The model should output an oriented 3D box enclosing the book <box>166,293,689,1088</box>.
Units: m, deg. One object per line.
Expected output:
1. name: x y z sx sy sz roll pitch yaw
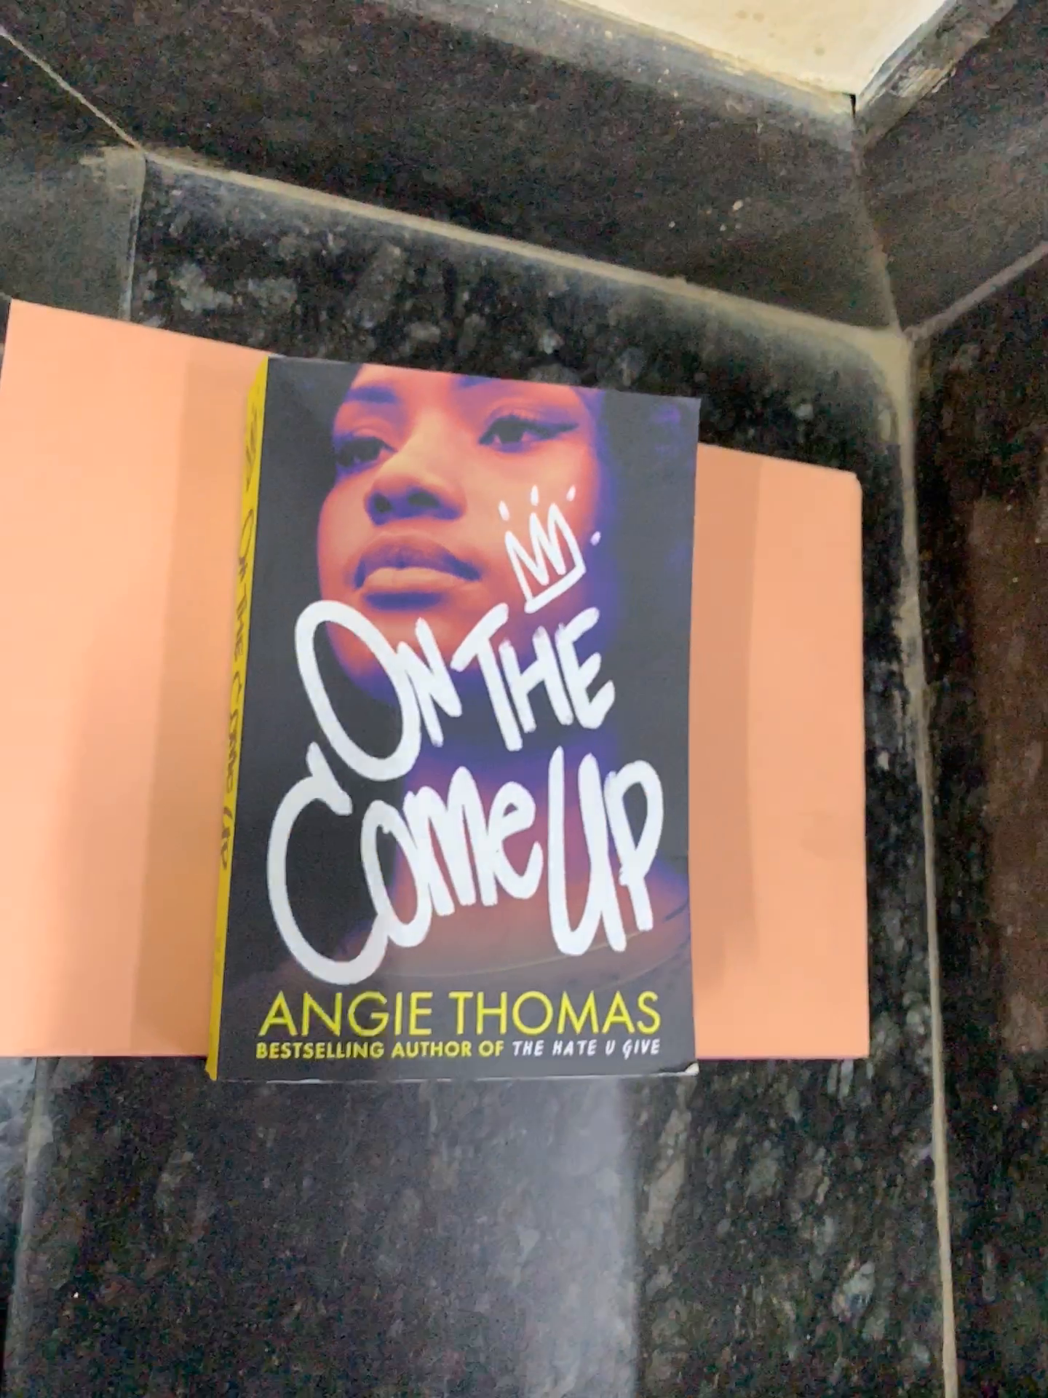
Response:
1. book: -0.024 -0.002 0.306 0.130 0.040 0.200 4 79 -16
